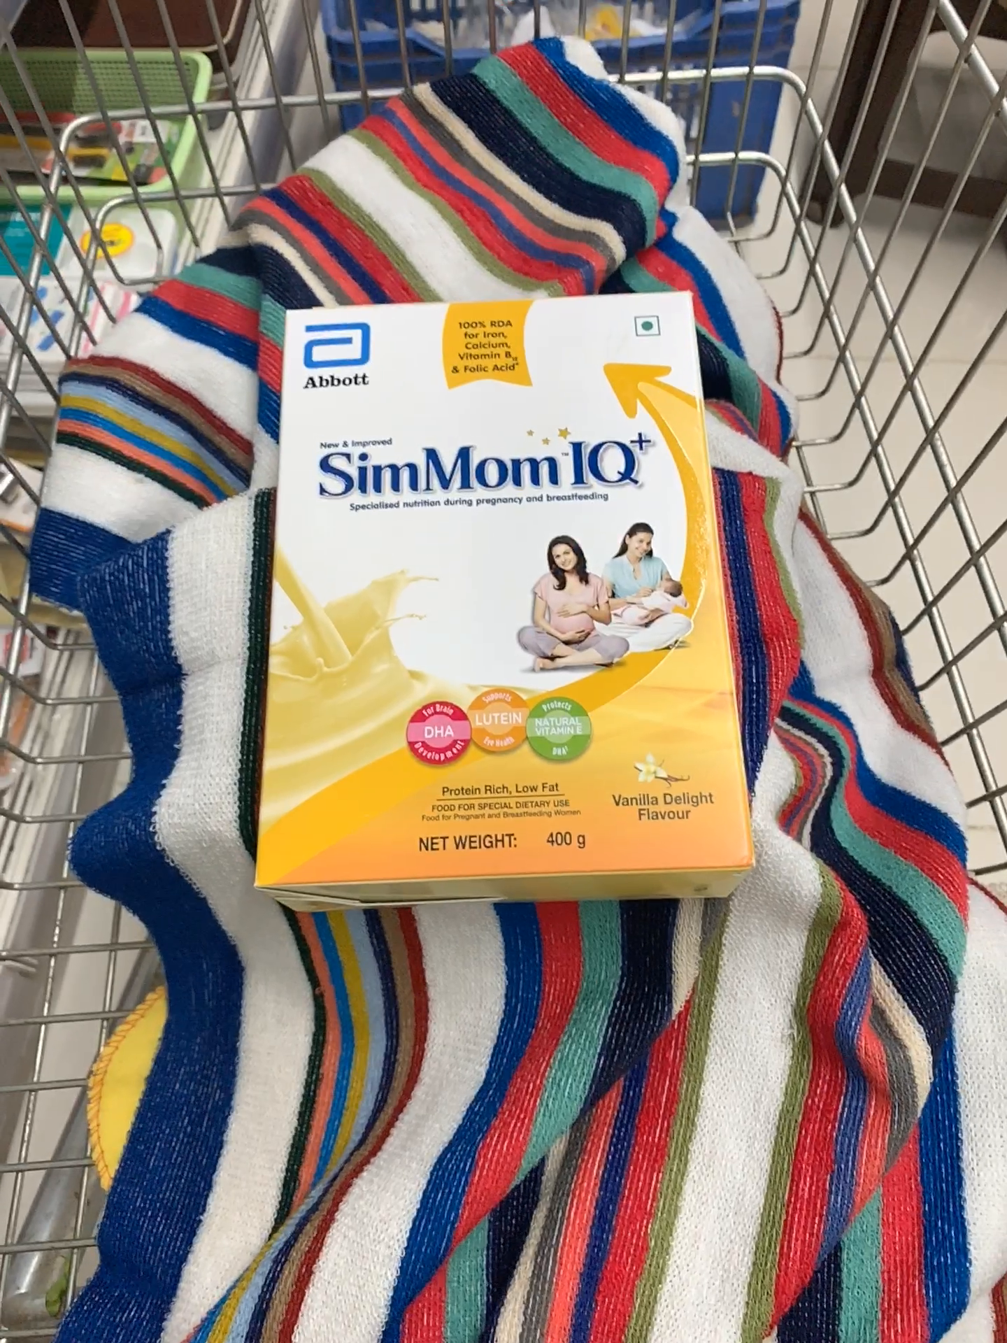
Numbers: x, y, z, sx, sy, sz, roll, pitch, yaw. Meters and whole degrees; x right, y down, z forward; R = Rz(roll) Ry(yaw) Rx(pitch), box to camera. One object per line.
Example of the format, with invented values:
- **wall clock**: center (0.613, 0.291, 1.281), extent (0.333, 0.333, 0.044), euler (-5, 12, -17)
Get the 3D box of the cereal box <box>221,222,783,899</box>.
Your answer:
- **cereal box**: center (-0.001, -0.037, 0.316), extent (0.140, 0.050, 0.200), euler (-1, 70, 1)
